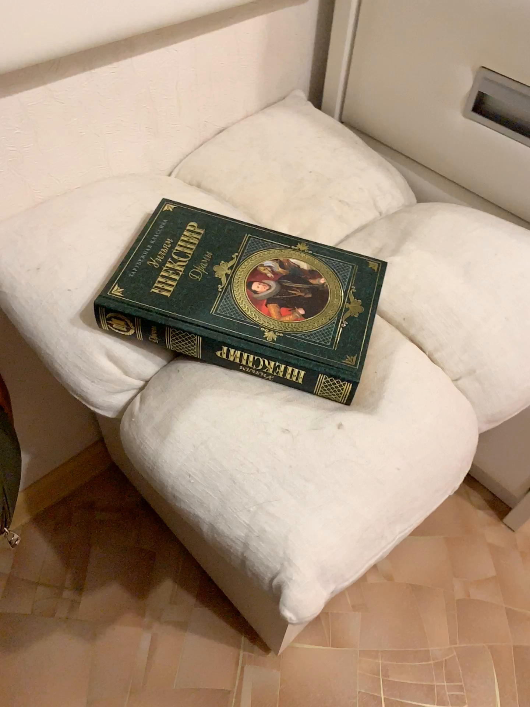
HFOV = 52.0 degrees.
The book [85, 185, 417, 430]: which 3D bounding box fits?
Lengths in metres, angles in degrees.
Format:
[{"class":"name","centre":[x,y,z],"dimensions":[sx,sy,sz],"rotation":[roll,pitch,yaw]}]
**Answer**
[{"class":"book","centre":[-0.002,-0.046,0.432],"dimensions":[0.220,0.040,0.151],"rotation":[17,53,5]}]
